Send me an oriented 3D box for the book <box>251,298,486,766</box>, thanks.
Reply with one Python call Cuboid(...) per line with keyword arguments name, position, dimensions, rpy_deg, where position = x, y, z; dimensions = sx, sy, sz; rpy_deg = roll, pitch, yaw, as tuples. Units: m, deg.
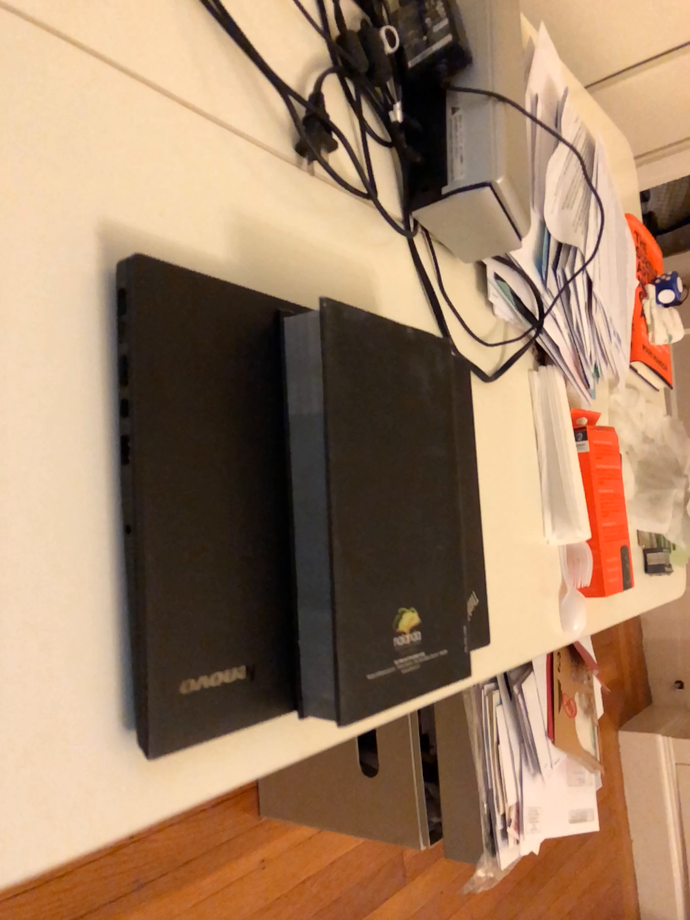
Cuboid(name="book", position=(0.019, 0.037, 0.443), dimensions=(0.151, 0.040, 0.230), rpy_deg=(4, 79, -53))
